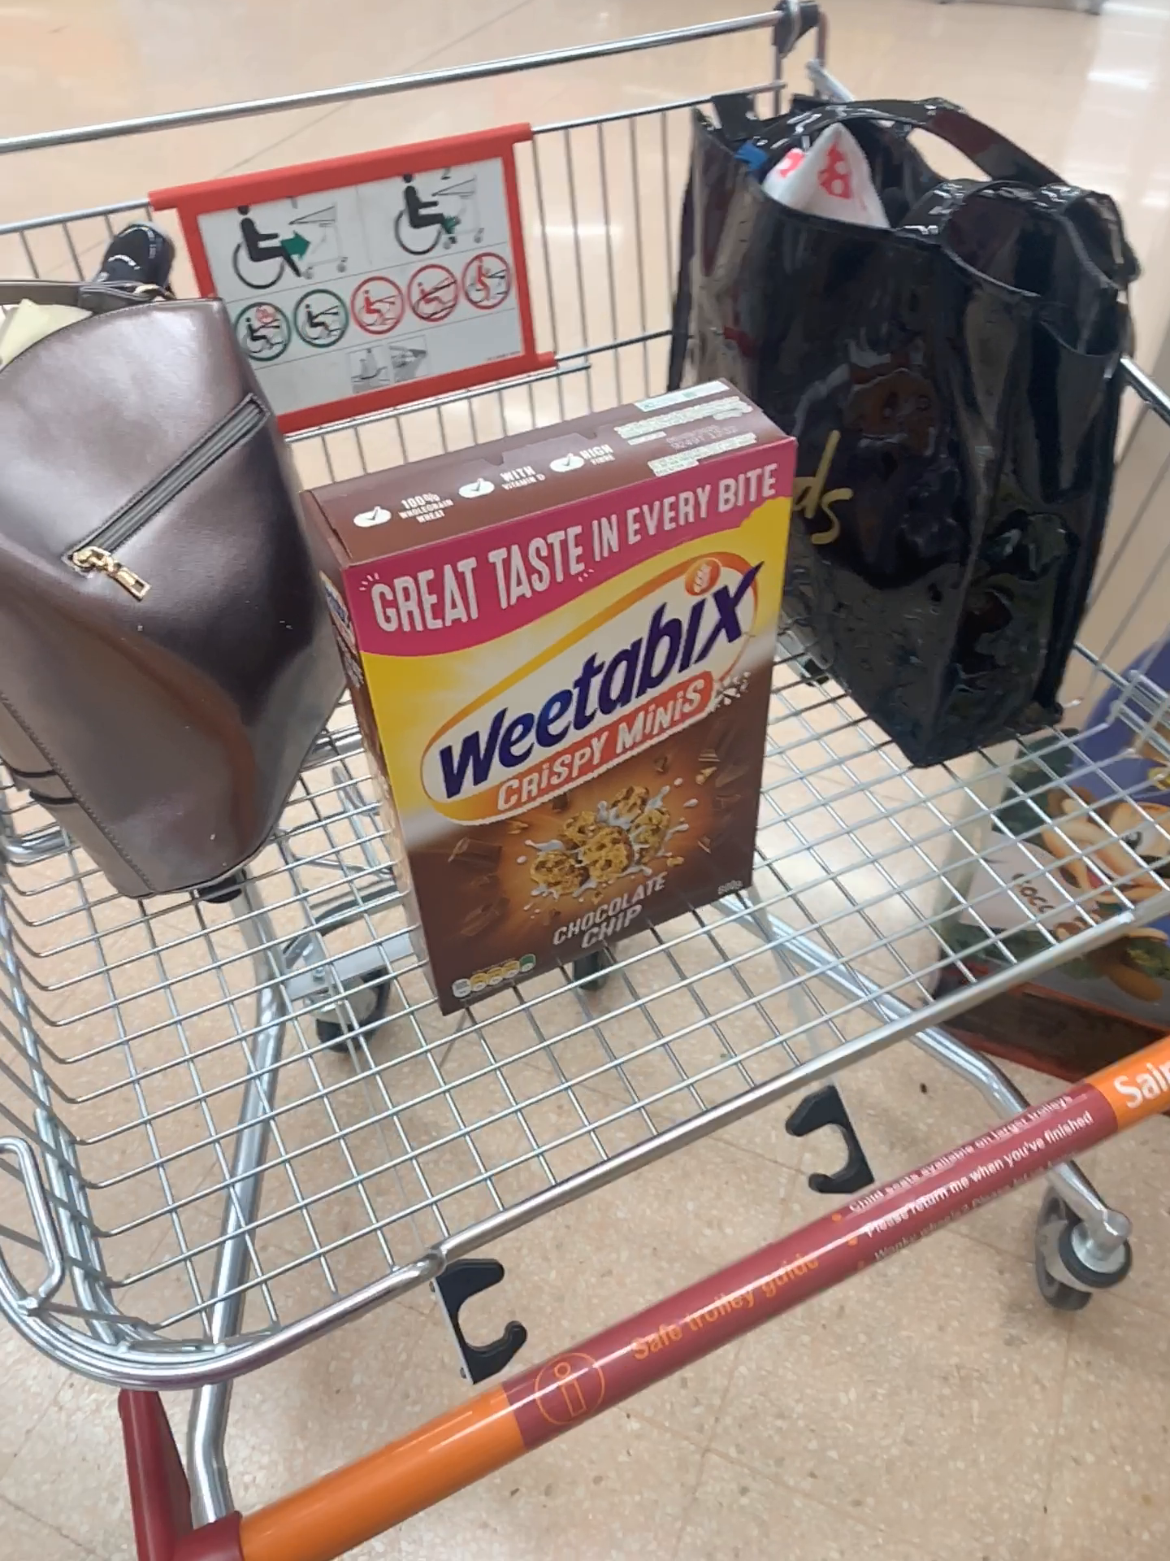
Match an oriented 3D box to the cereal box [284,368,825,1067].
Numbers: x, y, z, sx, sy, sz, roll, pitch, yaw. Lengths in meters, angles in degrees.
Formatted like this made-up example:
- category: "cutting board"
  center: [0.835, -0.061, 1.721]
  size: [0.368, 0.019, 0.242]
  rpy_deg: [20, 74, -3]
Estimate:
- category: "cereal box"
  center: [-0.009, -0.014, 0.599]
  size: [0.210, 0.327, 0.071]
  rpy_deg: [-20, 48, -19]
